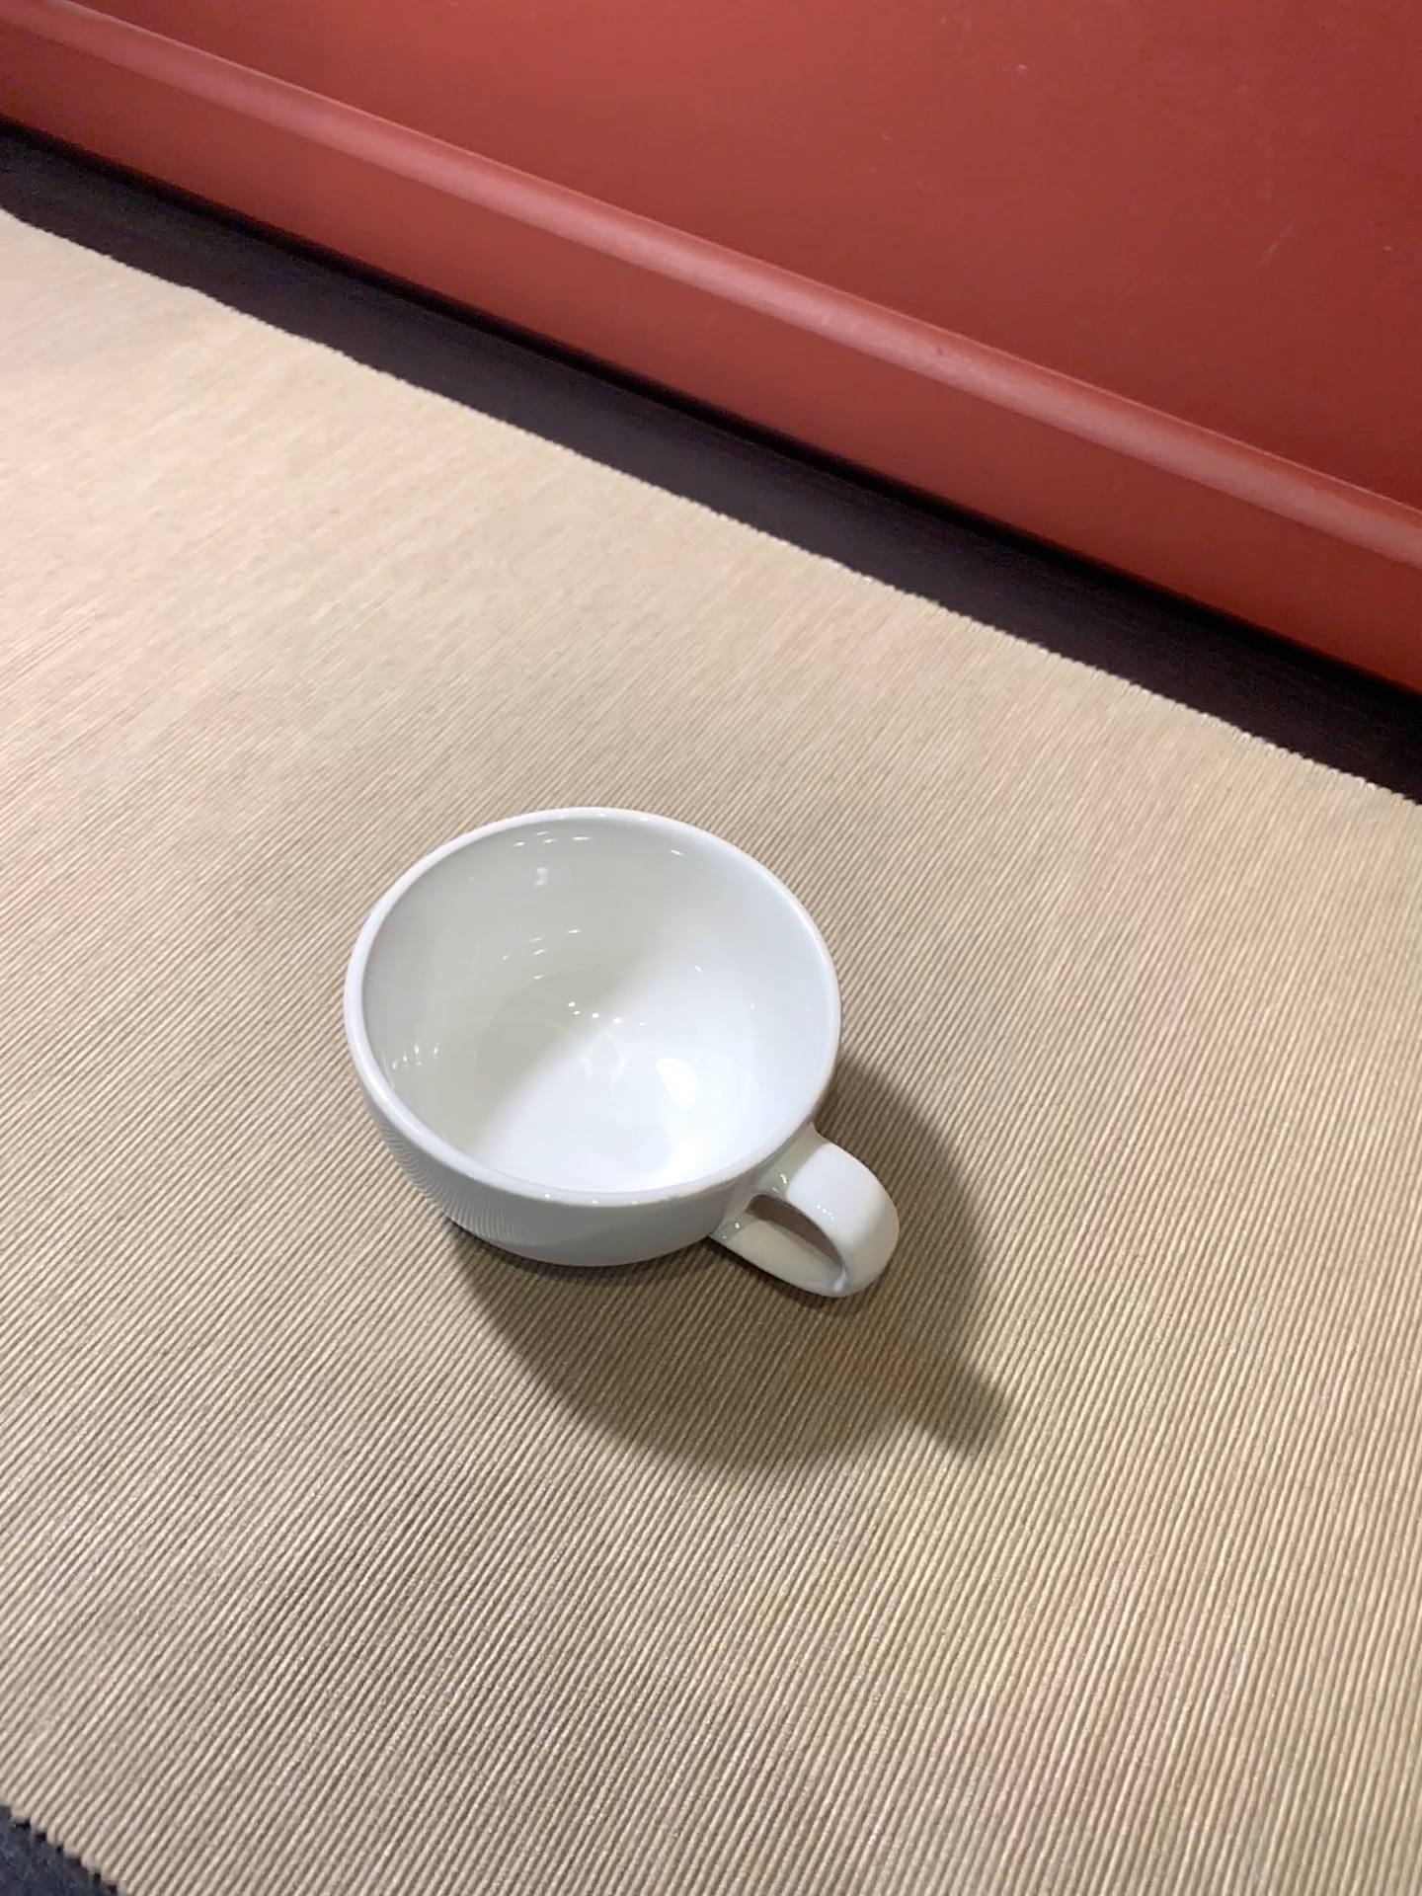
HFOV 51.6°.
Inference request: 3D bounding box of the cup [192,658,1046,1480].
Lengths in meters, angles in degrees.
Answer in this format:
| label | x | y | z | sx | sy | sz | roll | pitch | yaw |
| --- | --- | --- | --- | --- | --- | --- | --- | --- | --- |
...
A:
| label | x | y | z | sx | sy | sz | roll | pitch | yaw |
| --- | --- | --- | --- | --- | --- | --- | --- | --- | --- |
| cup | -0.016 | 0.016 | 0.268 | 0.110 | 0.060 | 0.090 | 33 | 54 | 20 |
